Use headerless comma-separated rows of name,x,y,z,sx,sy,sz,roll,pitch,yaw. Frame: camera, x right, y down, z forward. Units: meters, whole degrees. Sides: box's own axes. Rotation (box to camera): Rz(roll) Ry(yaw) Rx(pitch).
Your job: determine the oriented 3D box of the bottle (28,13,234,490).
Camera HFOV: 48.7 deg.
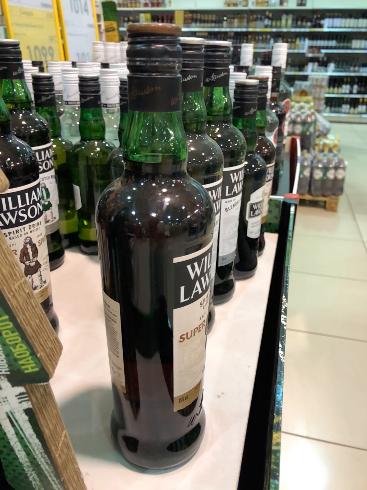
bottle,-0.022,0.020,0.272,0.090,0.298,0.081,4,24,6
